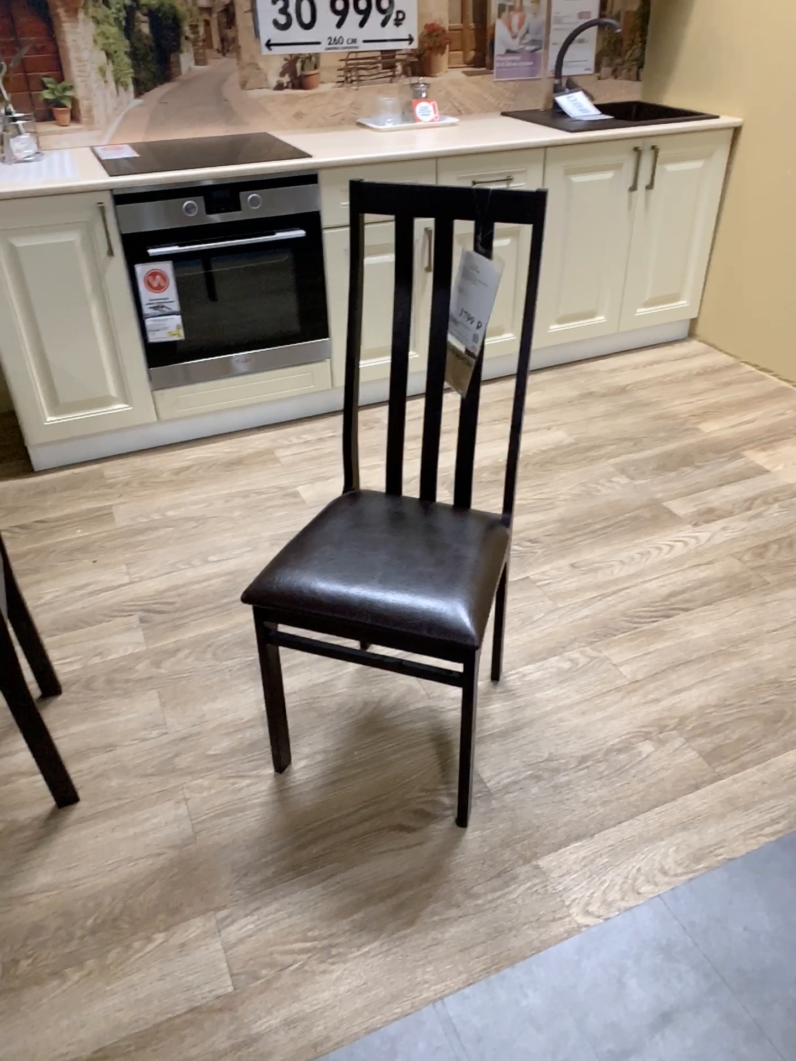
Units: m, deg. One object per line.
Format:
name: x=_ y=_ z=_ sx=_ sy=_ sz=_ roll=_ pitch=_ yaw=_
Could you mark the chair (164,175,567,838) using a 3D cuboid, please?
chair: x=-0.002 y=-0.035 z=1.417 sx=0.420 sy=0.985 sz=0.493 roll=10 pitch=35 yaw=17
